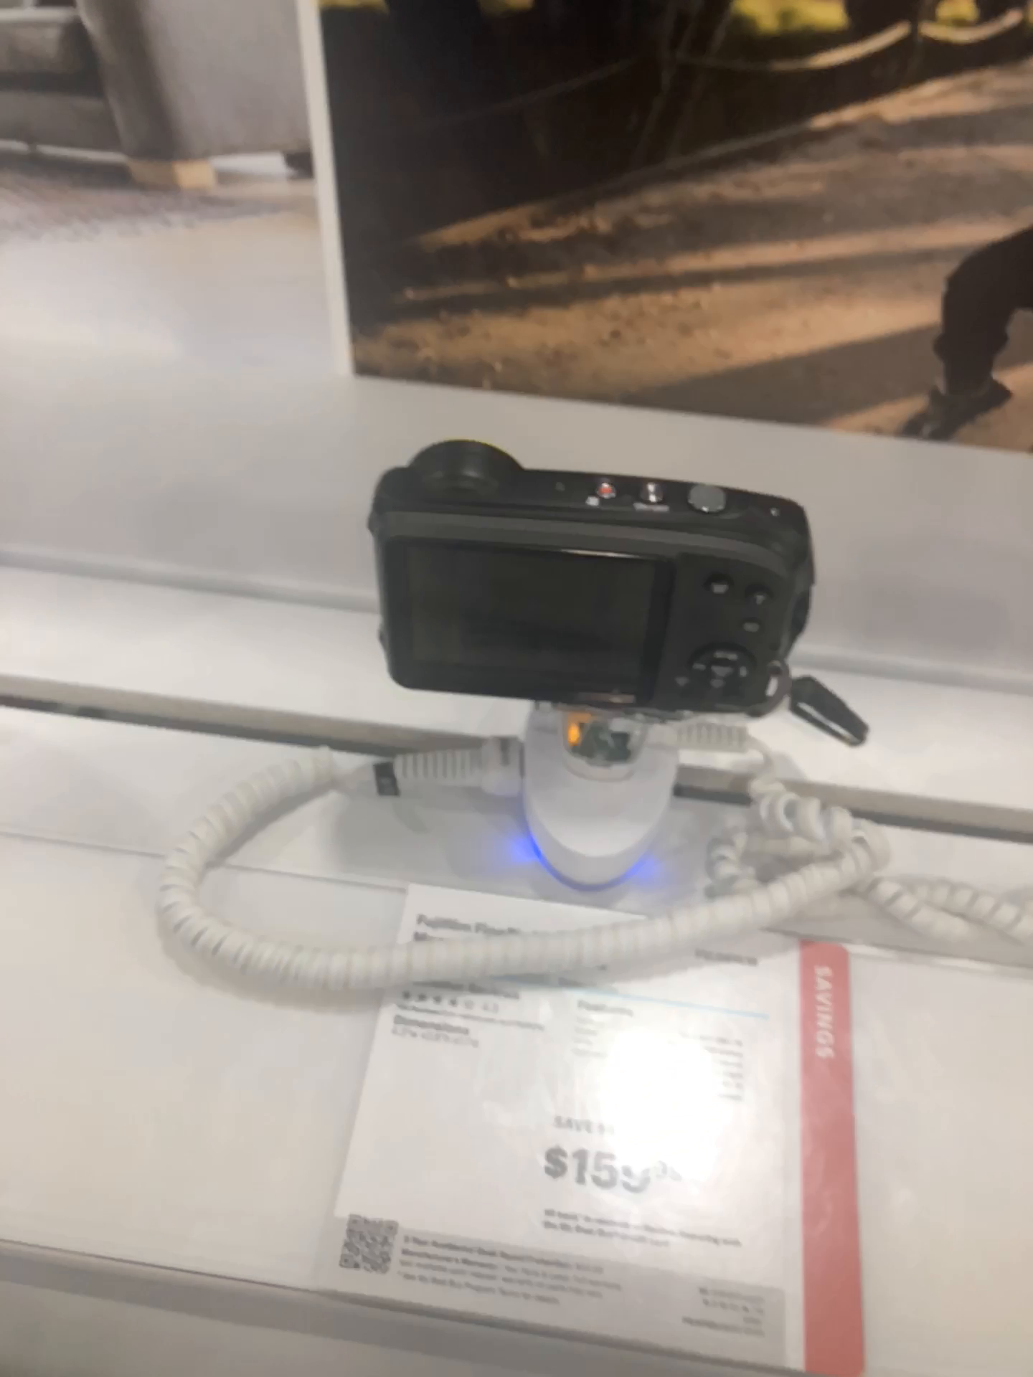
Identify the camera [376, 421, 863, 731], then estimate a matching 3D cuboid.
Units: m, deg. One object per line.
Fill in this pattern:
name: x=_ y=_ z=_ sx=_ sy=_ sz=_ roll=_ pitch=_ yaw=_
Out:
camera: x=0.023 y=-0.027 z=0.298 sx=0.110 sy=0.070 sz=0.030 roll=5 pitch=50 yaw=2
